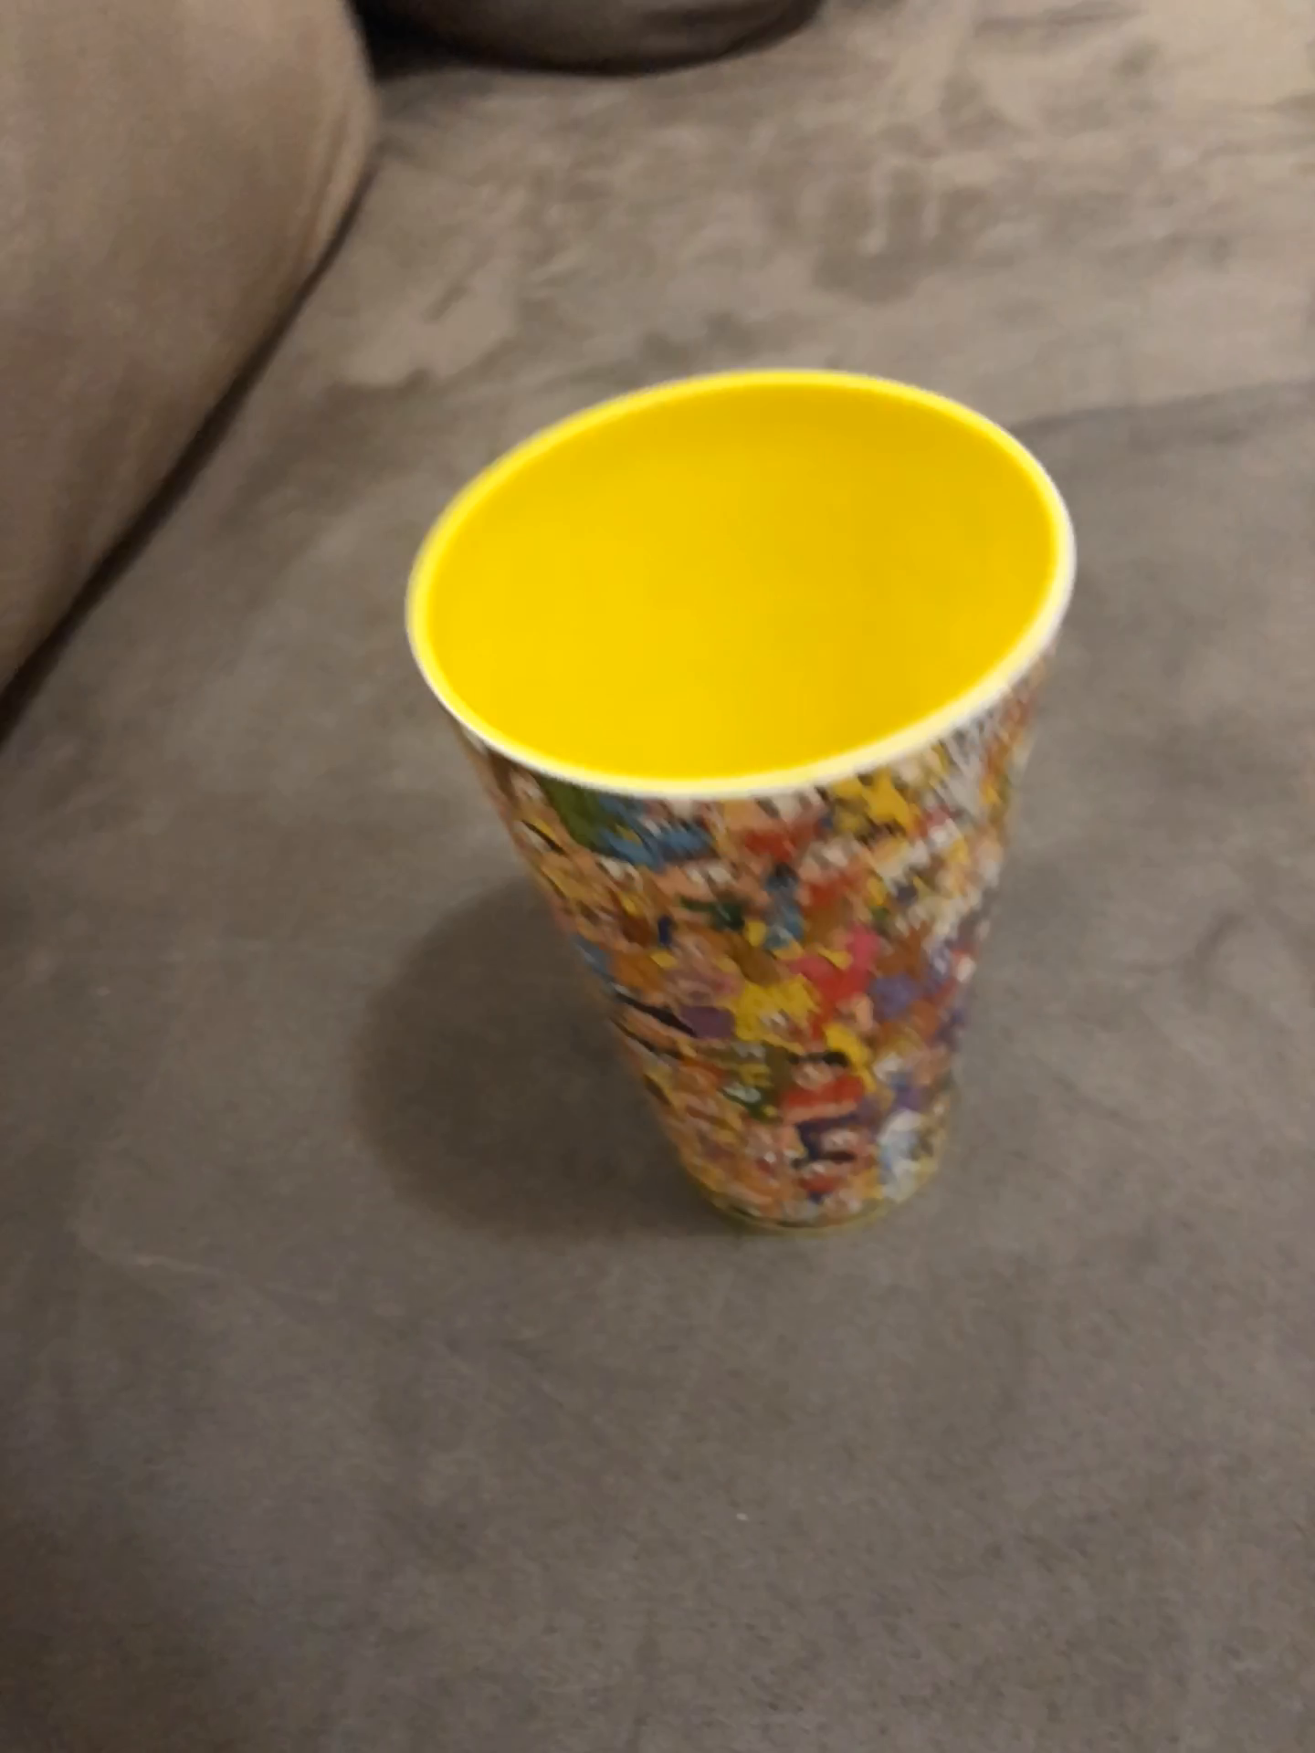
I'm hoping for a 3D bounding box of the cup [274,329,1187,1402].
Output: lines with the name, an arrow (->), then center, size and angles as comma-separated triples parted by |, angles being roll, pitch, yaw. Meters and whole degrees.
cup -> 0.019, 0.002, 0.257 | 0.090, 0.139, 0.090 | -6, 49, 7
